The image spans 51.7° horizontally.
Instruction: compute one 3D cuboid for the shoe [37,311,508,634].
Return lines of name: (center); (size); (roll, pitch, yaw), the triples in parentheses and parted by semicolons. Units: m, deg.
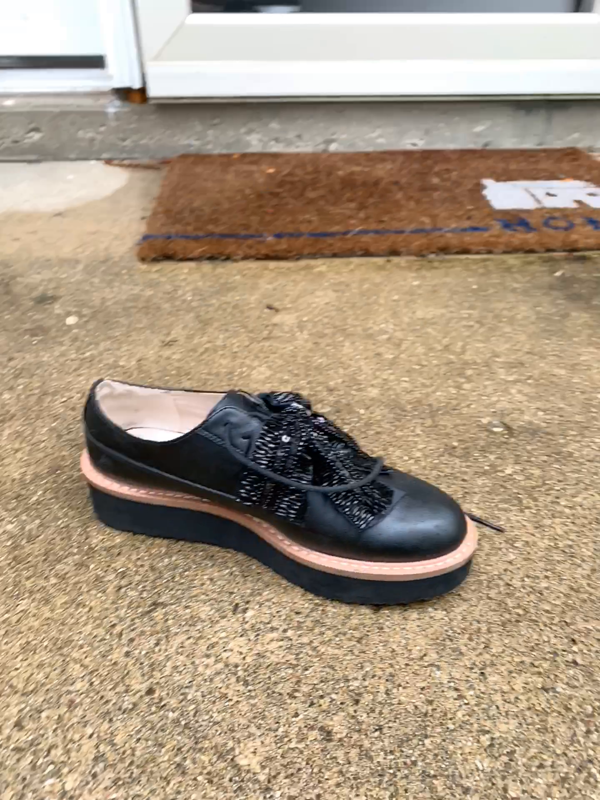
shoe: (-0.012, 0.038, 0.401); (0.258, 0.121, 0.106); (10, 36, 13)
